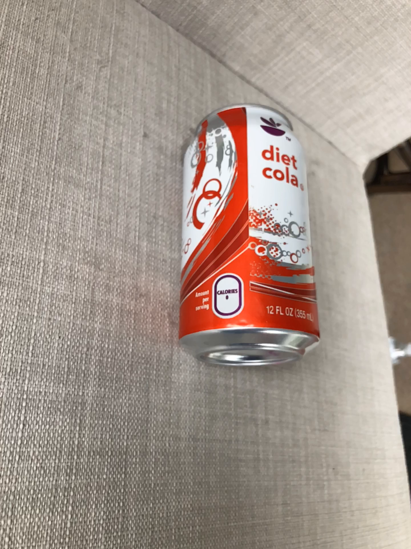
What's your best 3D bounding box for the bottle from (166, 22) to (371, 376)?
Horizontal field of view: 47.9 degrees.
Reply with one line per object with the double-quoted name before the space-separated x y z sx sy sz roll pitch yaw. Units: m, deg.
"bottle" 0.031 -0.029 0.231 0.070 0.062 0.149 17 68 -42
